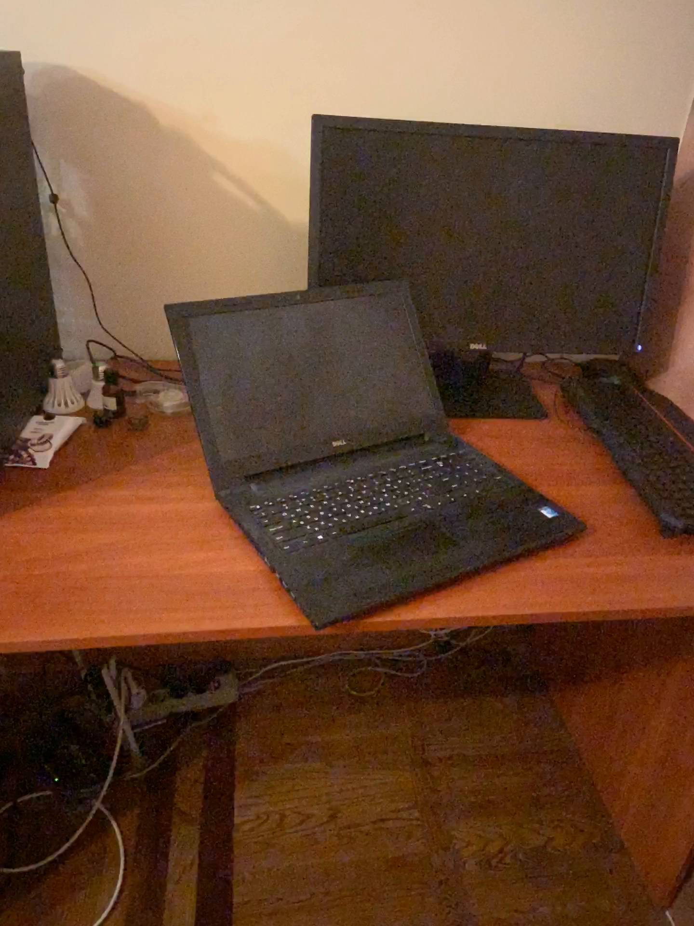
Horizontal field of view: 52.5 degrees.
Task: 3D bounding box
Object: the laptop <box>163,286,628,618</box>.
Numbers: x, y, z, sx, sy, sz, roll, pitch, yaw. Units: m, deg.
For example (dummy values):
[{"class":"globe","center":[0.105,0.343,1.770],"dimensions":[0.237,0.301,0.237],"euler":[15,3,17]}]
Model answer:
[{"class":"laptop","center":[0.027,-0.057,0.826],"dimensions":[0.356,0.181,0.394],"euler":[-12,33,-28]}]
